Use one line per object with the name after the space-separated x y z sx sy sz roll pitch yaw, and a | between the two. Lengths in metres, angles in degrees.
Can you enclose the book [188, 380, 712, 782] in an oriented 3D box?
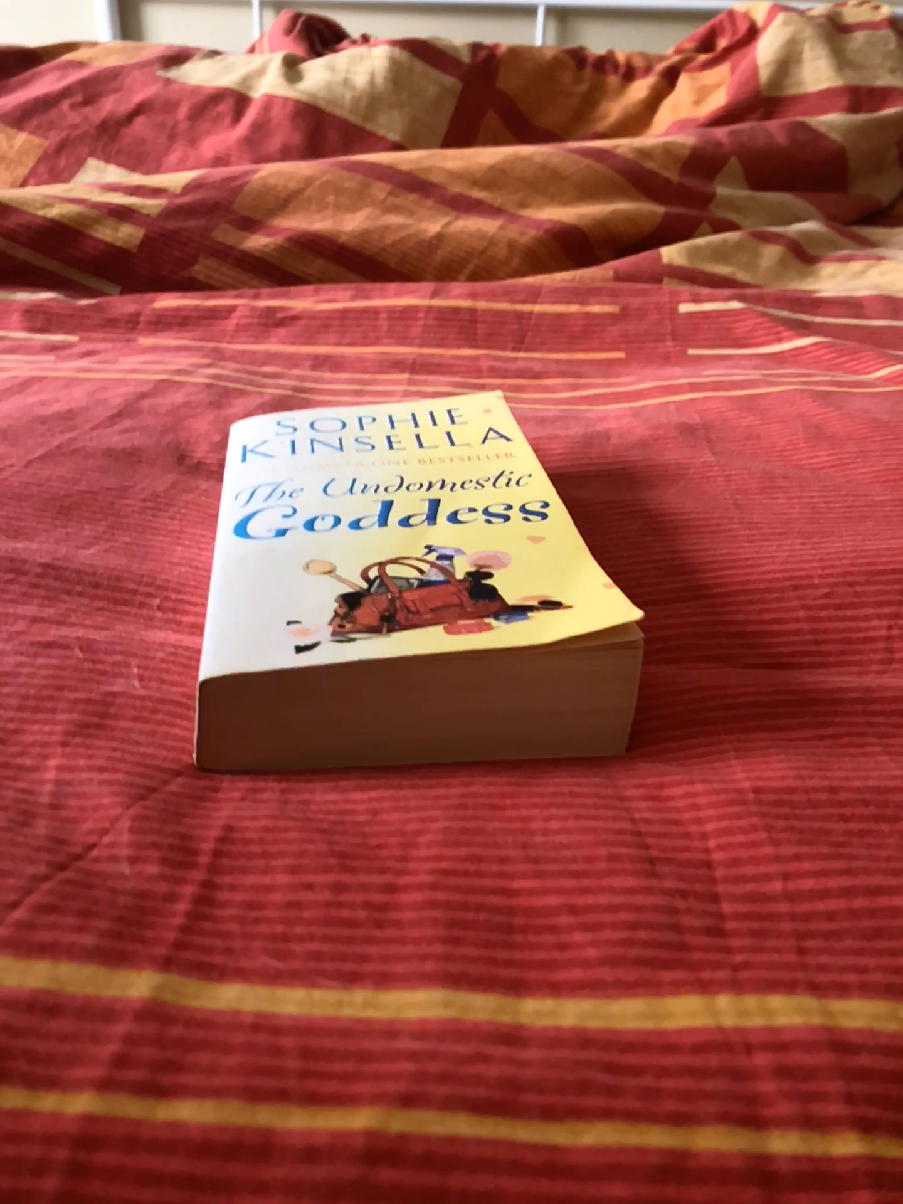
-0.011 -0.022 0.314 0.120 0.040 0.181 -3 29 -7 | book
